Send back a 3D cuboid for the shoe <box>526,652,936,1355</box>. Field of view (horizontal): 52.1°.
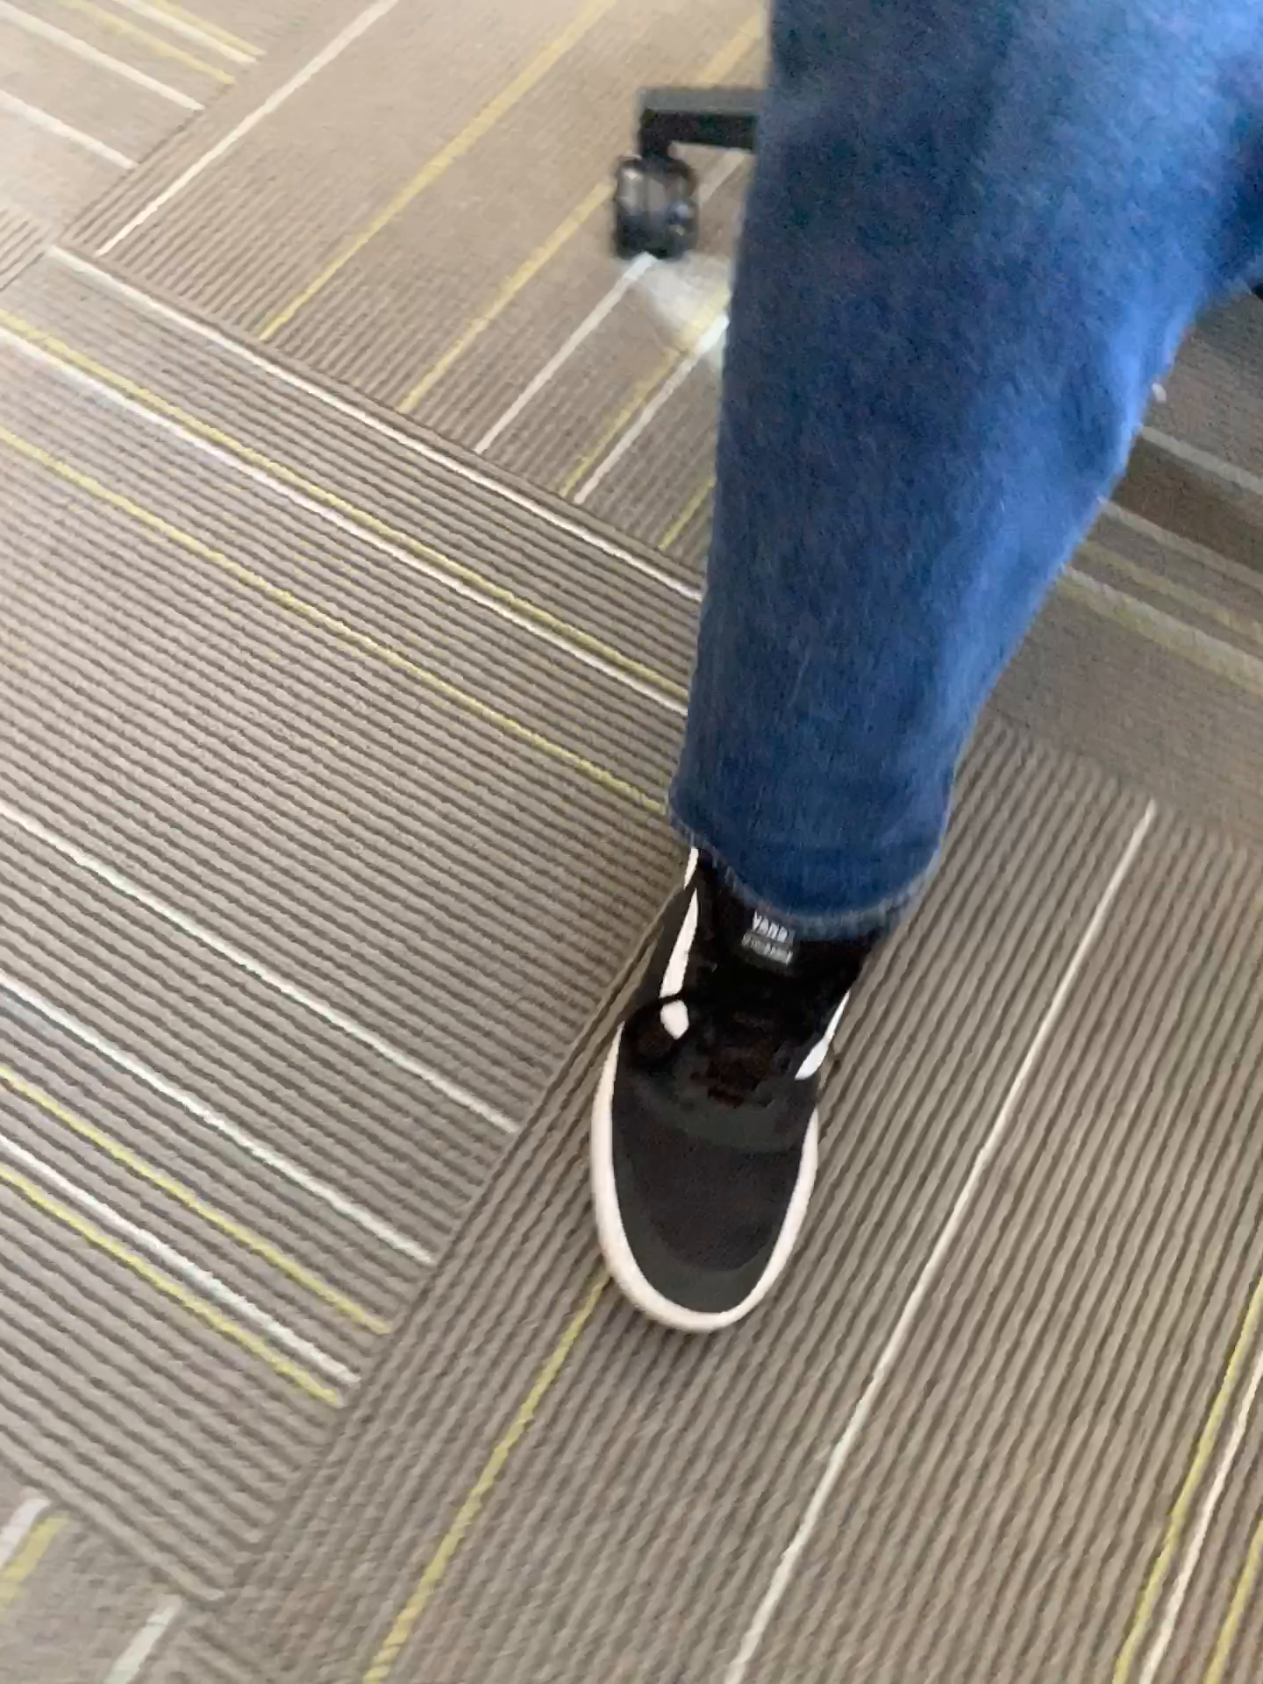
[{"bbox_3d":[0.054,0.080,0.669,0.120,0.120,0.321,16,66,4],"label":"shoe"}]
